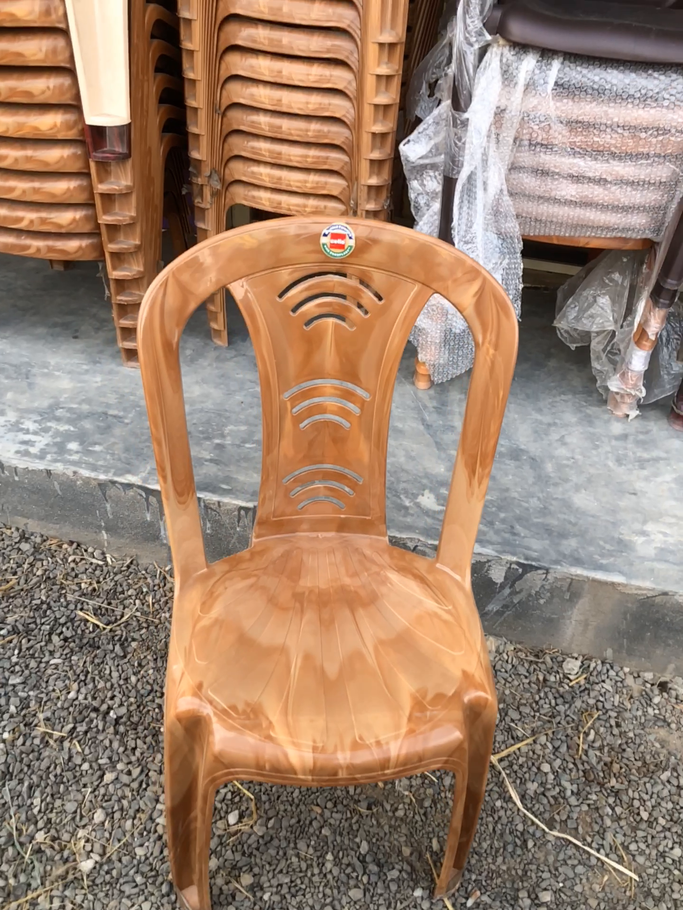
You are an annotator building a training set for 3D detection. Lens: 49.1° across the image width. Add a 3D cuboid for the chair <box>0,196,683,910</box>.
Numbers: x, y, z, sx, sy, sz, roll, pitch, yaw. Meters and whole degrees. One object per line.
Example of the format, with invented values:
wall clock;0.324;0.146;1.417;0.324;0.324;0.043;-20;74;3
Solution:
chair;-0.033;0.149;0.988;0.540;0.766;0.583;0;37;-7
